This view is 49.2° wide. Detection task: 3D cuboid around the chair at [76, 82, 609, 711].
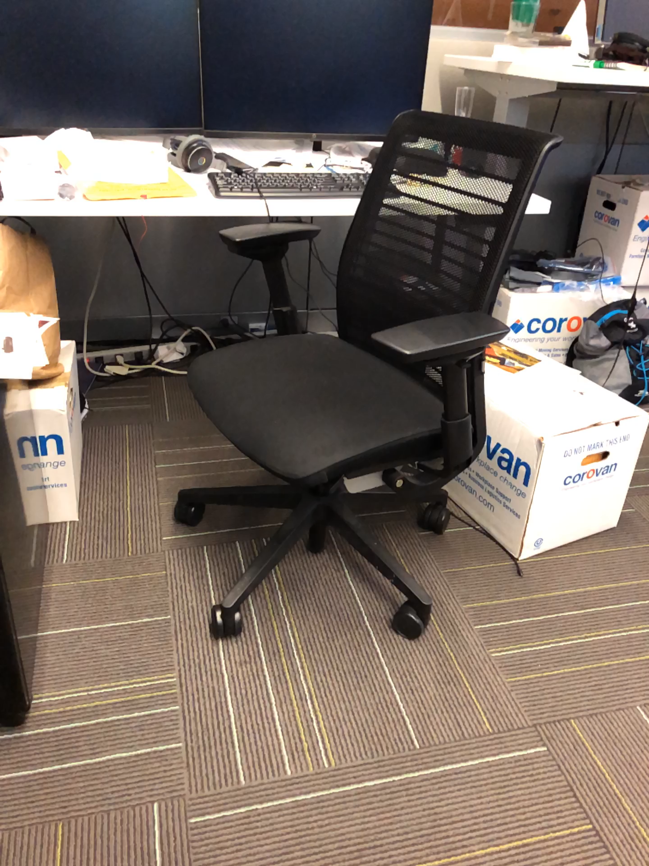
[{"bbox_3d":[-0.025,-0.142,1.406,0.611,0.935,0.673,-16,35,-31],"label":"chair"}]
